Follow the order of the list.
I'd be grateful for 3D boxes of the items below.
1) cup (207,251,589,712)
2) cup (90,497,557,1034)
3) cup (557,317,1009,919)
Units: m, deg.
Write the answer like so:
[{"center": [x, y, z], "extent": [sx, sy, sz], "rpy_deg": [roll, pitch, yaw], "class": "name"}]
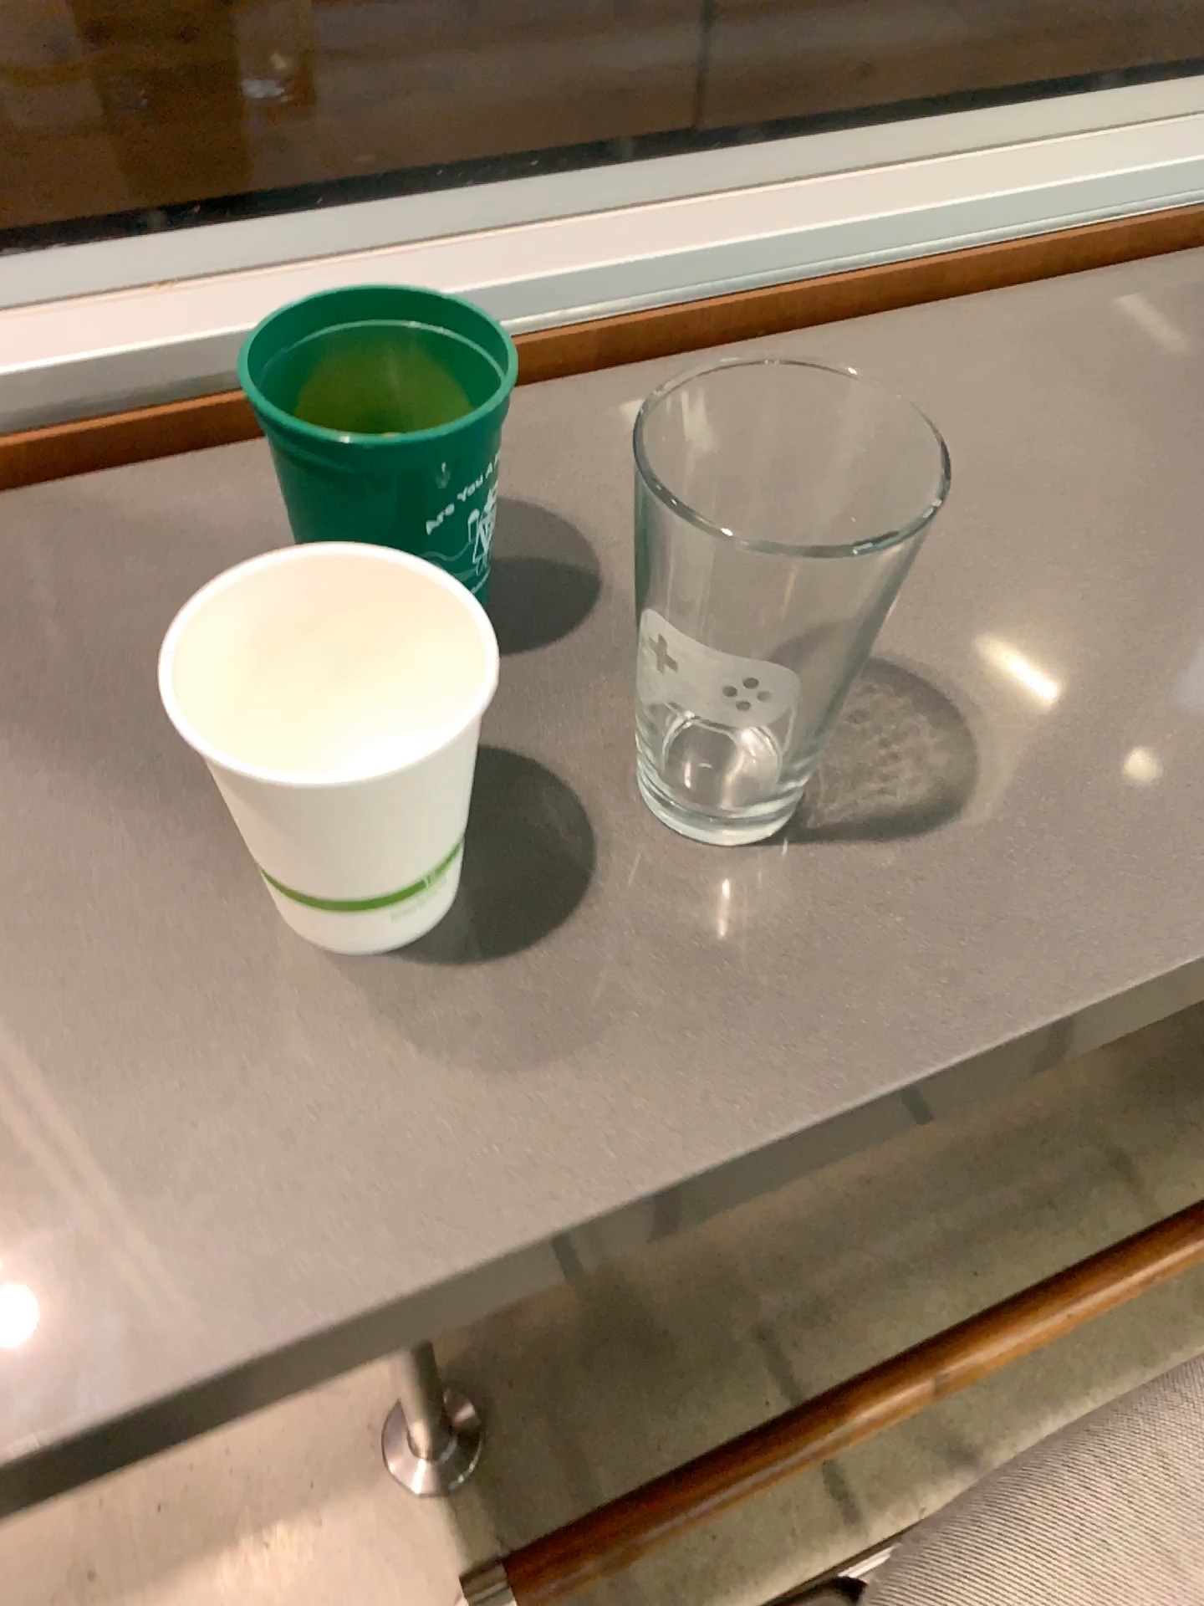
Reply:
[{"center": [-0.067, -0.115, 0.448], "extent": [0.090, 0.110, 0.090], "rpy_deg": [2, 51, -2], "class": "cup"}, {"center": [-0.073, -0.010, 0.371], "extent": [0.090, 0.110, 0.090], "rpy_deg": [2, 51, -2], "class": "cup"}, {"center": [0.049, -0.054, 0.390], "extent": [0.090, 0.139, 0.090], "rpy_deg": [2, 51, -2], "class": "cup"}]
